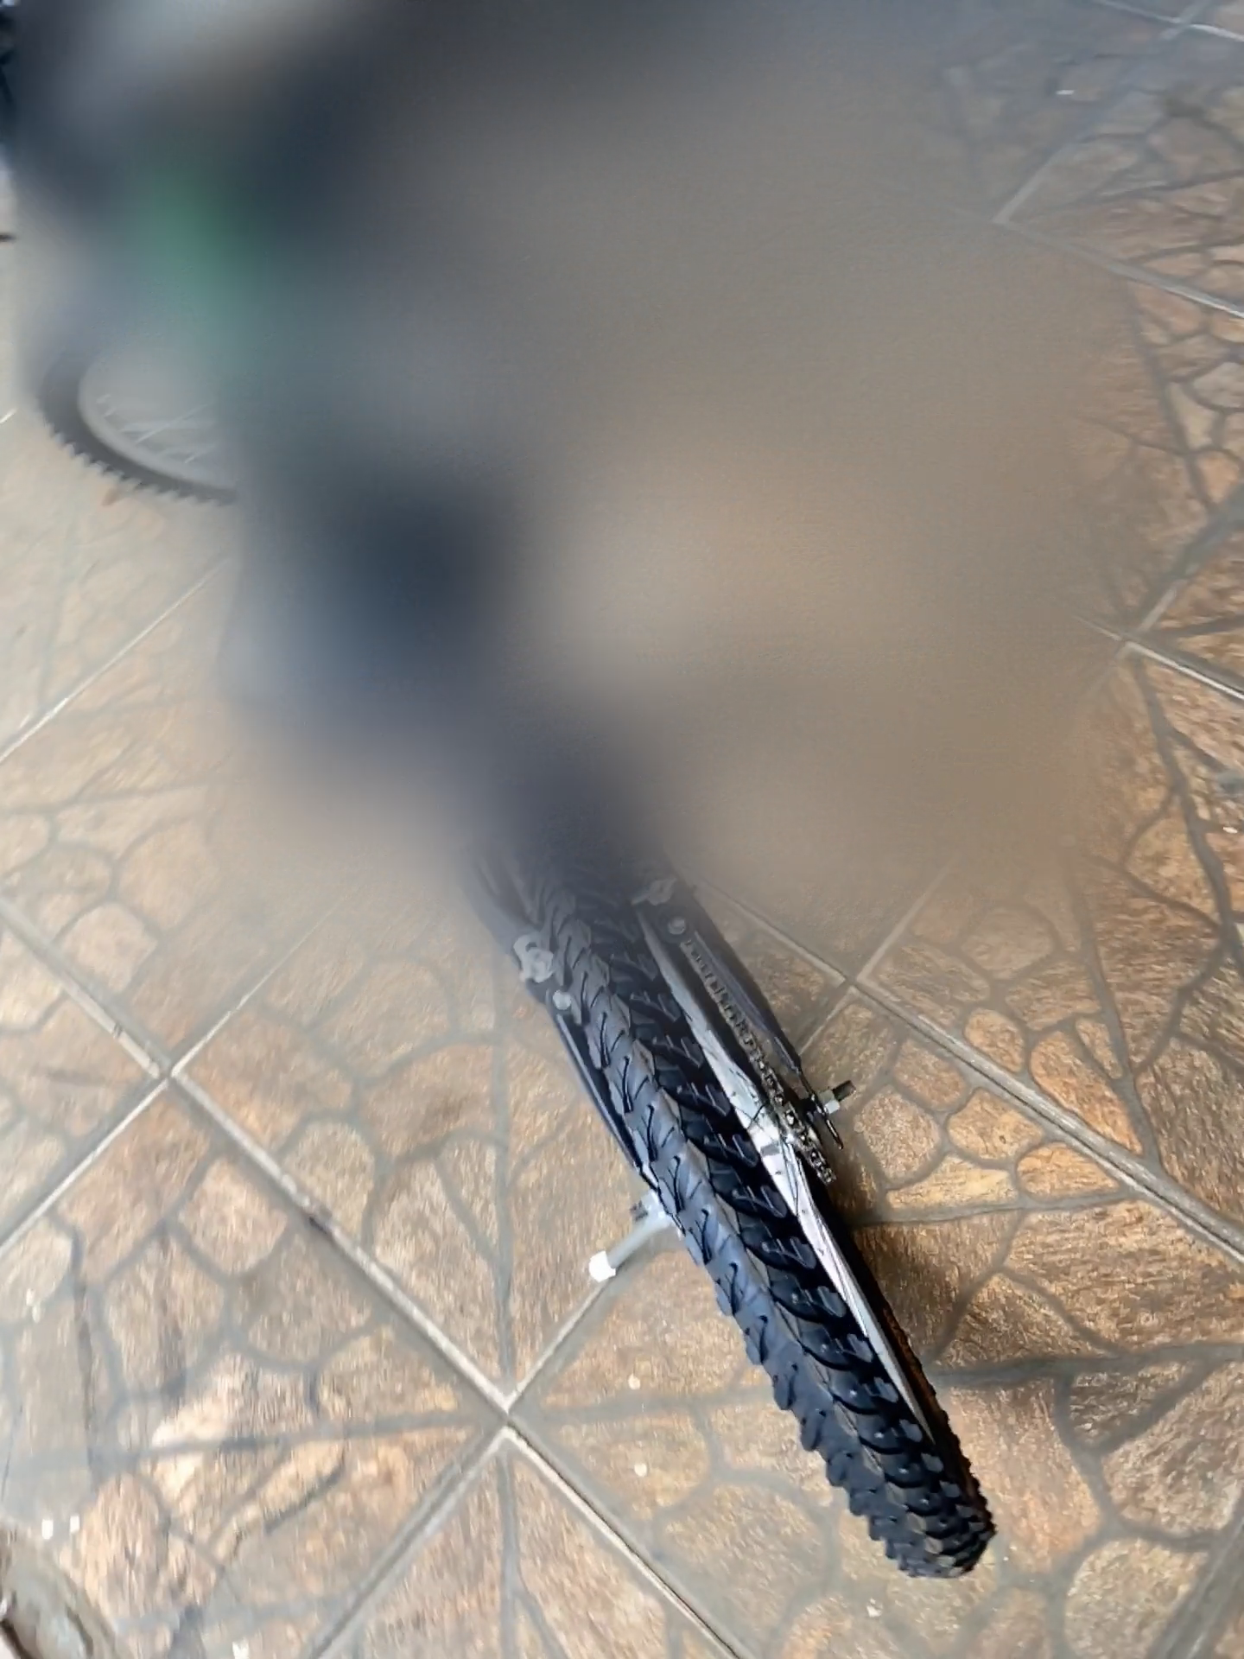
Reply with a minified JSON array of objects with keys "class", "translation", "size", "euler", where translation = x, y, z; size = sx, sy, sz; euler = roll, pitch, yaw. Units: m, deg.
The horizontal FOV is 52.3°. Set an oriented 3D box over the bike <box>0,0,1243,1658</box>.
[{"class":"bike","translation":[-0.243,-0.086,0.835],"size":[0.599,0.936,1.273],"euler":[-34,57,-11]}]
